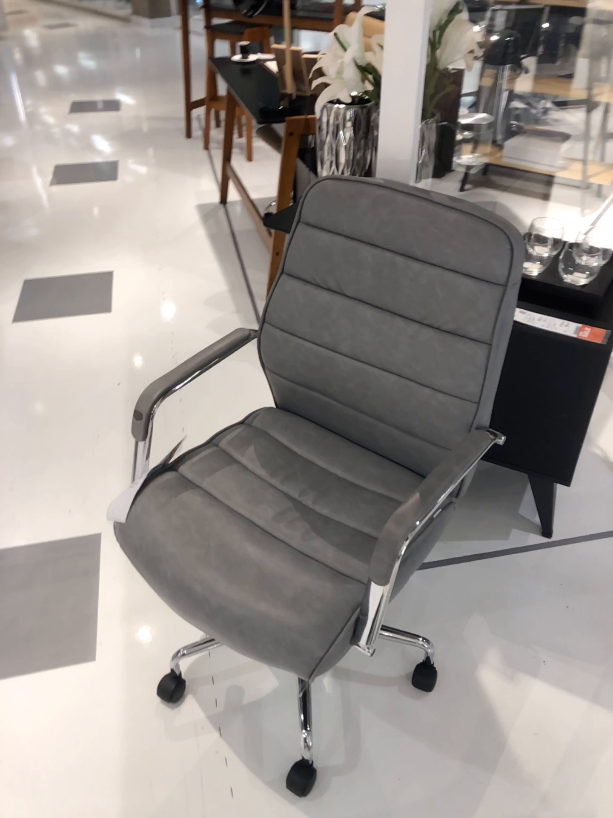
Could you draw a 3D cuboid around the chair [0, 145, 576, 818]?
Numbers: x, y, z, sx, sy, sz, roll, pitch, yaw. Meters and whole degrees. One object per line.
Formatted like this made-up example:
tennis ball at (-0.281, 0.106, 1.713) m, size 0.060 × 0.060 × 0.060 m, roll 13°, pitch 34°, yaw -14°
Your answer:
chair at (-0.031, 0.157, 1.215) m, size 0.601 × 0.993 × 0.553 m, roll 27°, pitch 45°, yaw 31°
